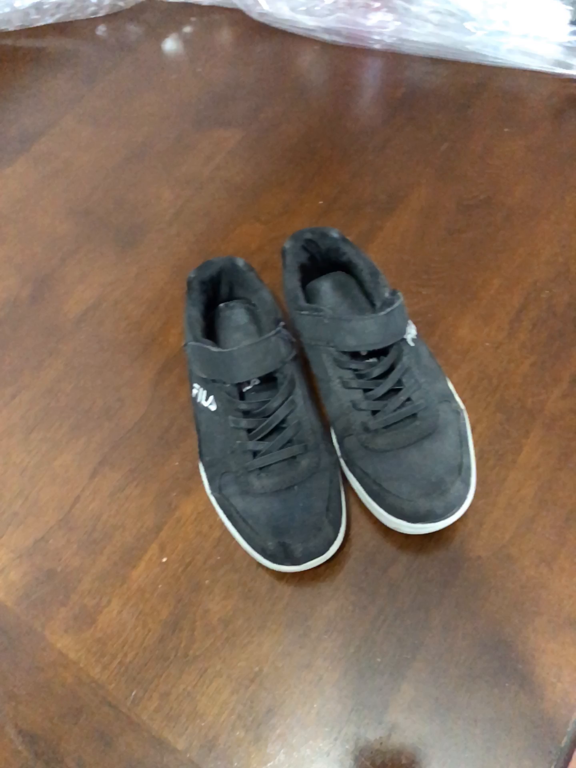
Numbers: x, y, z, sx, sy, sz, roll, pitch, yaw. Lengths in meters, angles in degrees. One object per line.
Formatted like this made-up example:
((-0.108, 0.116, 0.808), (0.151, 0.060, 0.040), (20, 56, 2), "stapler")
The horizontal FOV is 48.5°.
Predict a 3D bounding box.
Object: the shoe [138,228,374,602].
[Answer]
((-0.024, 0.014, 0.410), (0.090, 0.080, 0.210), (-18, 59, 0), "shoe")

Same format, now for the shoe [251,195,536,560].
((0.058, -0.011, 0.416), (0.090, 0.080, 0.210), (-22, 59, -2), "shoe")
